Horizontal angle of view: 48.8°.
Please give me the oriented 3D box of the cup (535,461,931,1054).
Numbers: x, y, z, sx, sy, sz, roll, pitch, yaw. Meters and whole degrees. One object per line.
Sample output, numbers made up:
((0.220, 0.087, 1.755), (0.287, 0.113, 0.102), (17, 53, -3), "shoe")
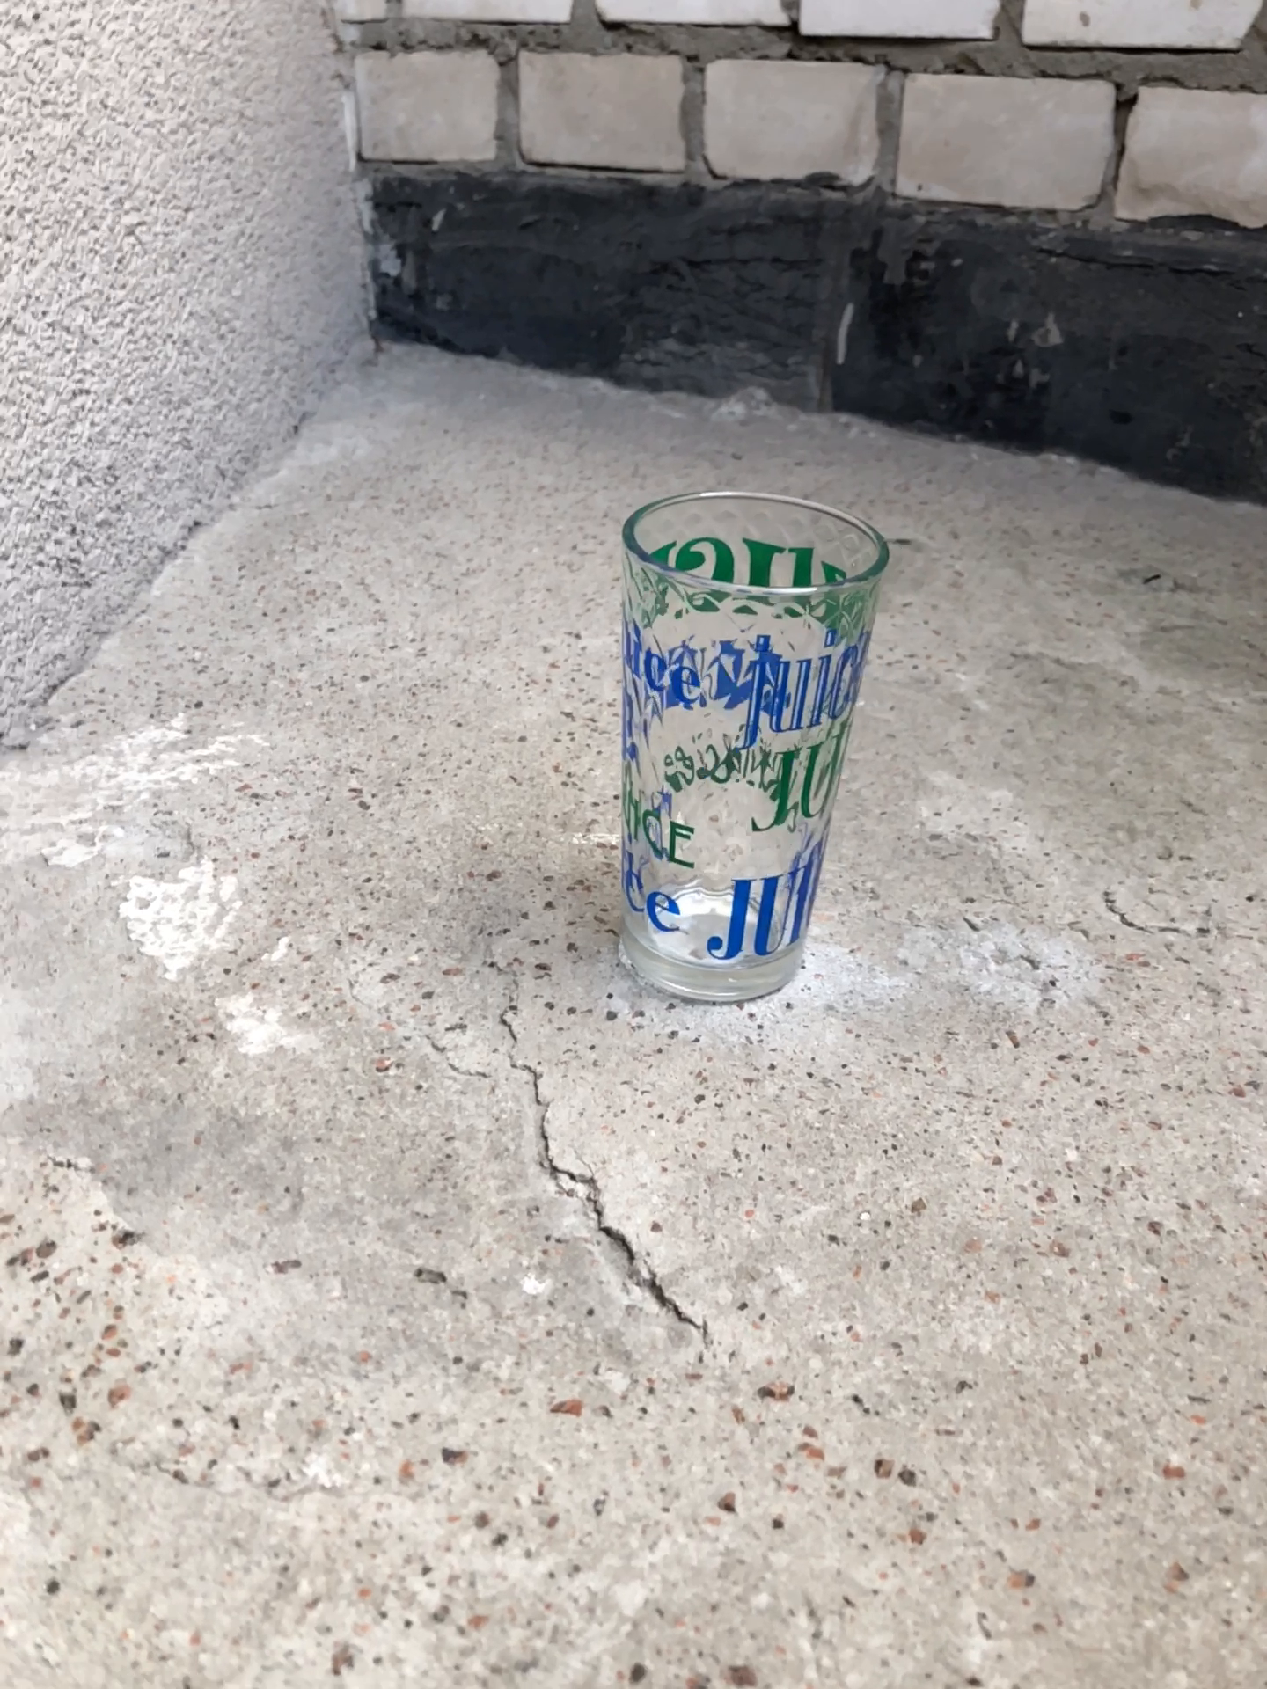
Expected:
((0.021, -0.024, 0.364), (0.066, 0.125, 0.067), (2, 32, -1), "cup")
